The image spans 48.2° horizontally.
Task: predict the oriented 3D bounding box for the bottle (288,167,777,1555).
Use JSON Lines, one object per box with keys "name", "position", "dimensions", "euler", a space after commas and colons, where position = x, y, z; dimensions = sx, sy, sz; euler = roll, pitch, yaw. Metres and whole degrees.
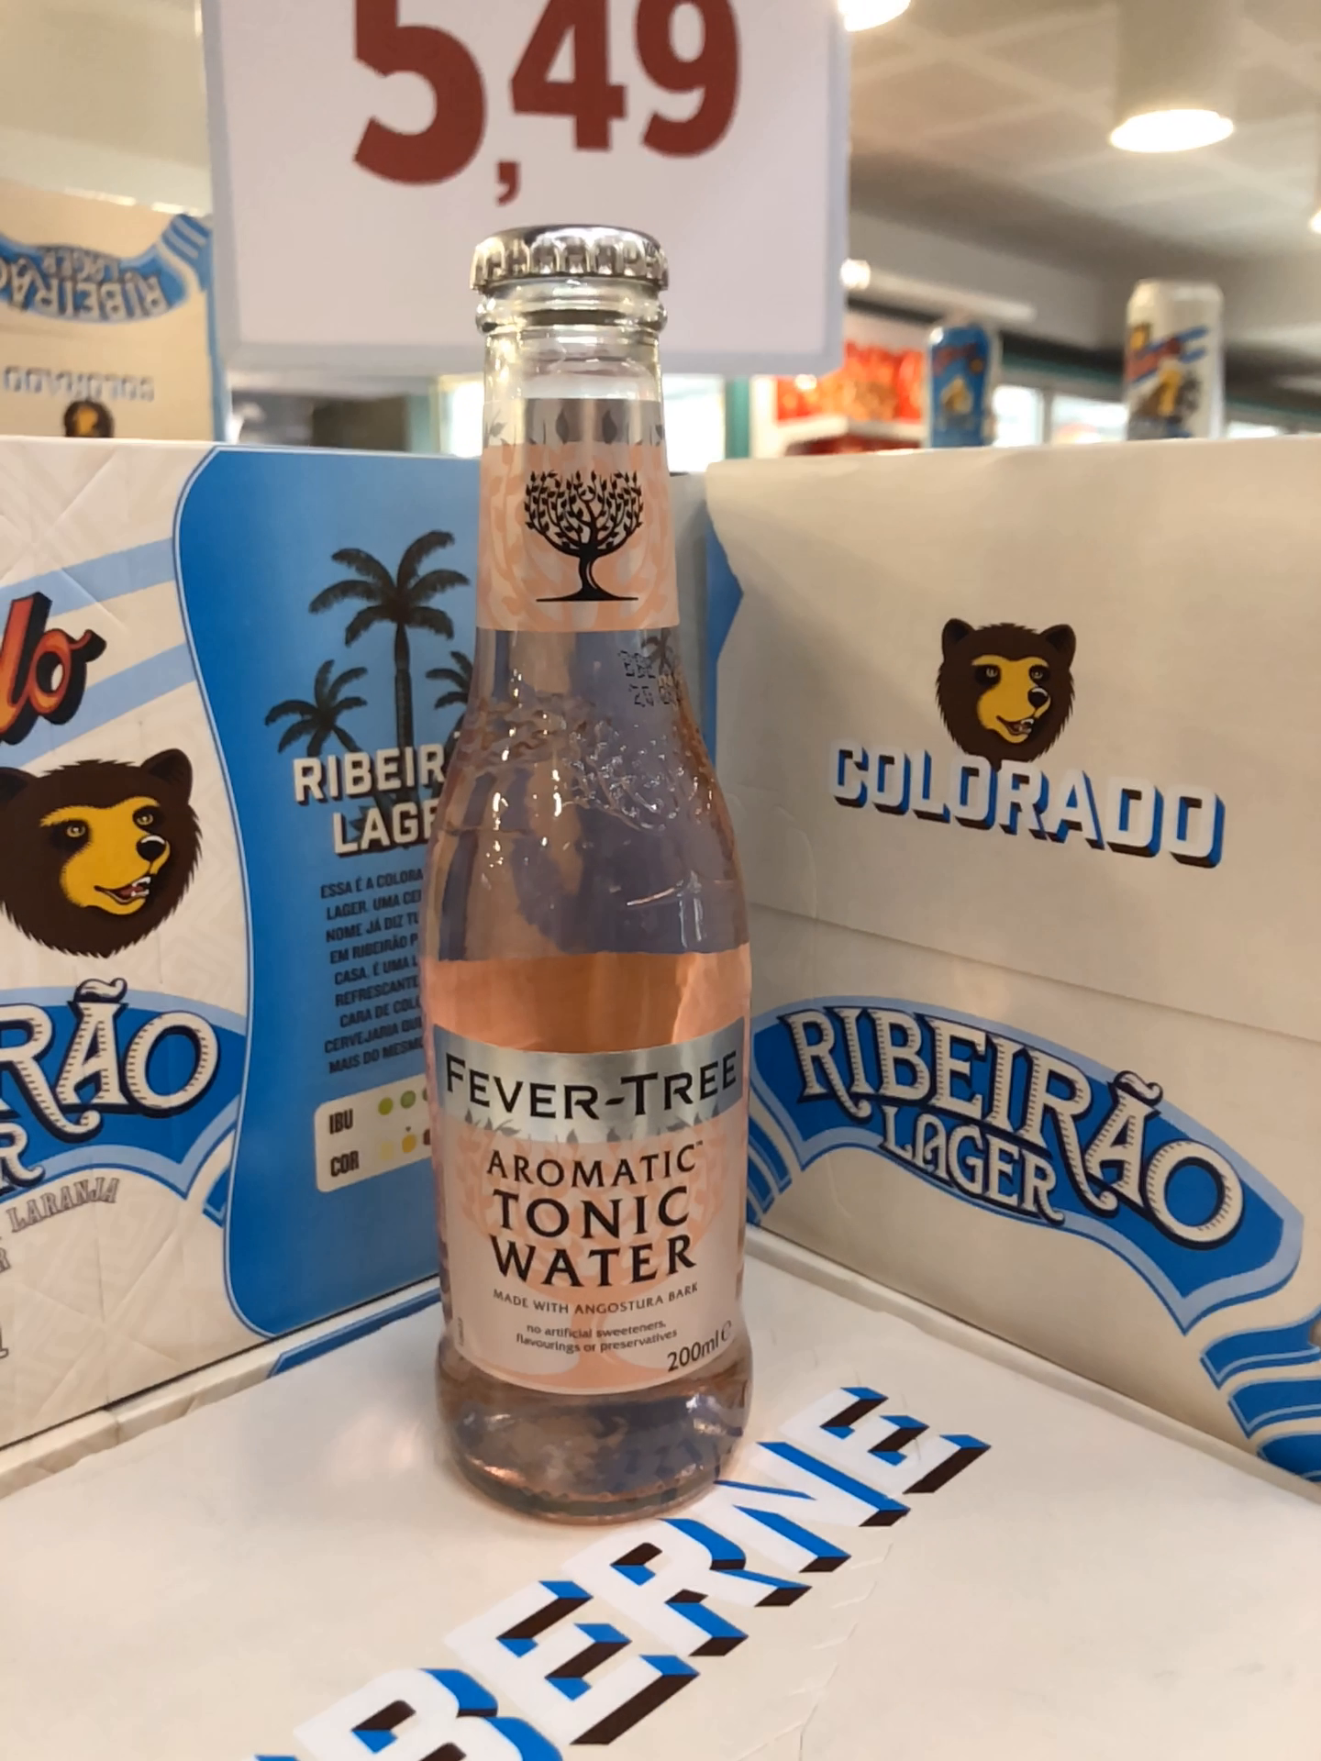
{"name": "bottle", "position": [-0.017, 0.001, 0.224], "dimensions": [0.060, 0.189, 0.050], "euler": [0, 11, -3]}
